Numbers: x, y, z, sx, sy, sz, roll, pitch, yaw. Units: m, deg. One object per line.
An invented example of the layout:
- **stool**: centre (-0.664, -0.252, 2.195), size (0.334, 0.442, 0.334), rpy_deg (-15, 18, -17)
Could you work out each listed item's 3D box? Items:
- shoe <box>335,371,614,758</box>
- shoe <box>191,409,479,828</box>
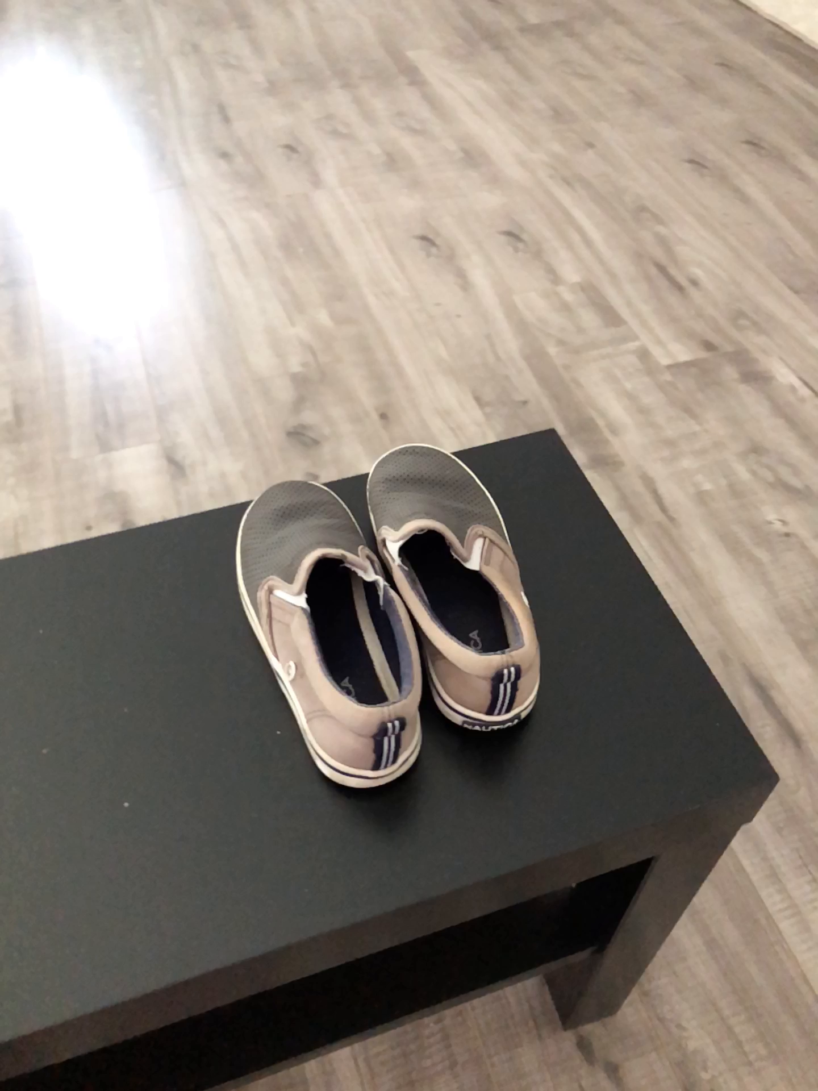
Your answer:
- **shoe**: centre (0.024, 0.001, 0.470), size (0.077, 0.070, 0.191), rpy_deg (-13, 49, -11)
- **shoe**: centre (-0.042, 0.026, 0.445), size (0.077, 0.070, 0.191), rpy_deg (-17, 50, -14)
